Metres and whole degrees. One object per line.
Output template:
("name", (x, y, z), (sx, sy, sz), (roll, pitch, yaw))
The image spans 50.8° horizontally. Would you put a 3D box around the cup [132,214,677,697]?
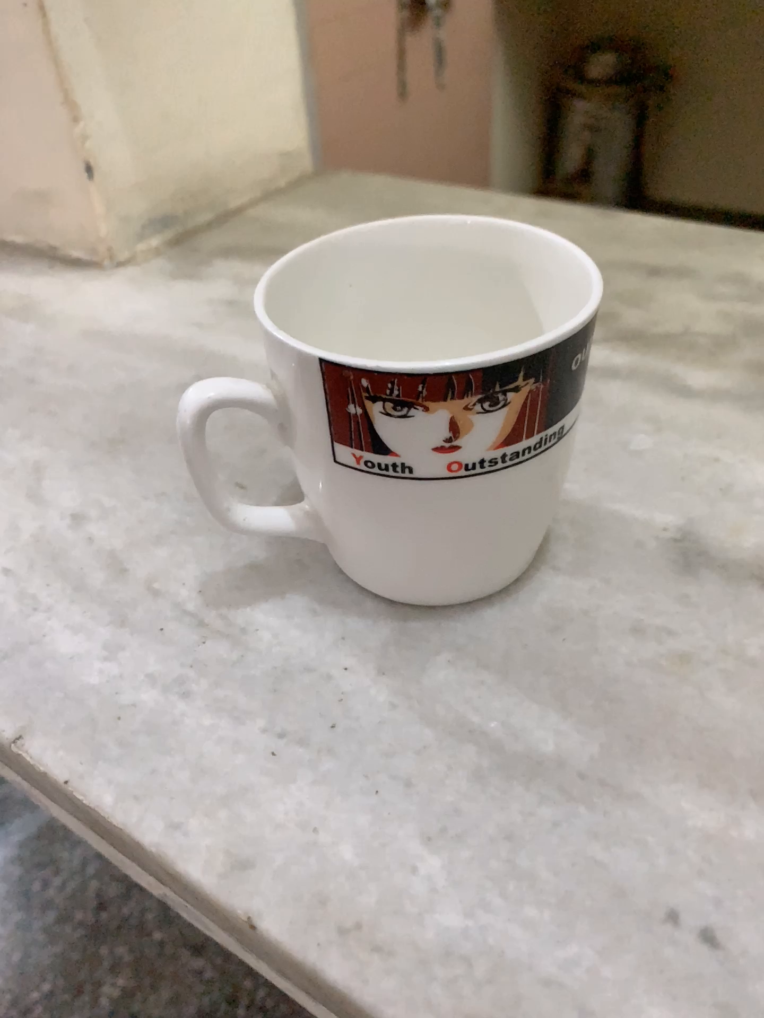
("cup", (0.000, -0.016, 0.176), (0.090, 0.060, 0.070), (-13, 40, -10))
